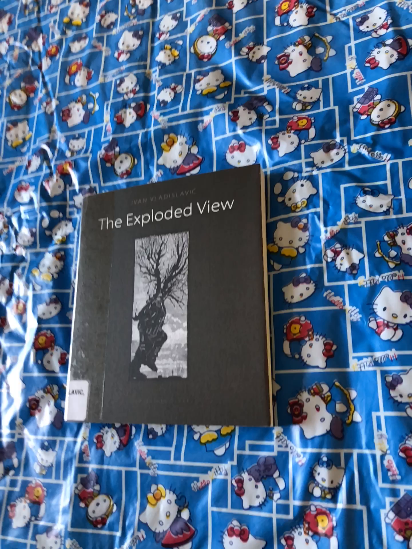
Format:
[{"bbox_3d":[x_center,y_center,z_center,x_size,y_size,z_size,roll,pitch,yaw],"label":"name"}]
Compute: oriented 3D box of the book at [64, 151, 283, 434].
[{"bbox_3d":[-0.023,0.012,0.303,0.140,0.020,0.170,-5,75,21],"label":"book"}]
